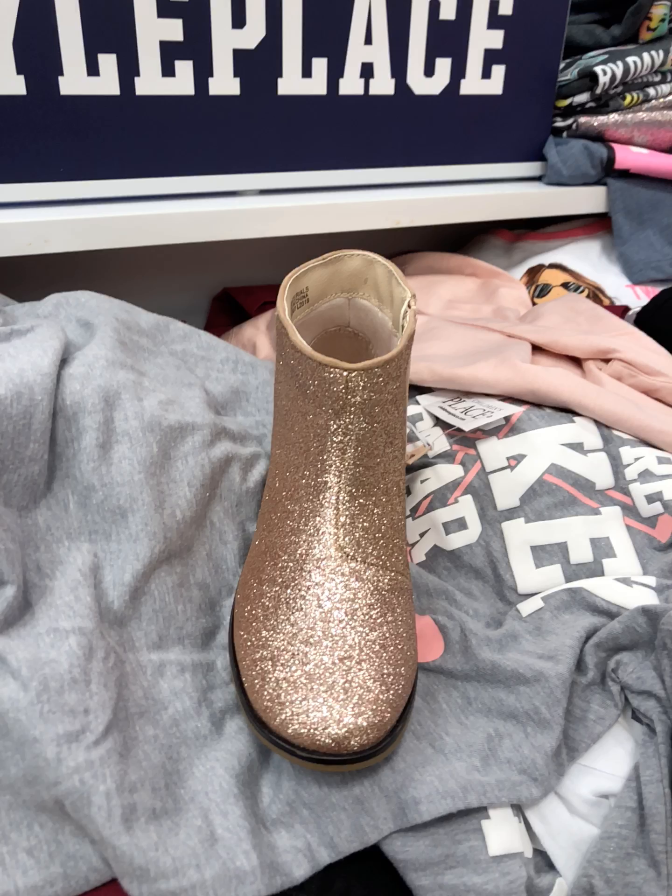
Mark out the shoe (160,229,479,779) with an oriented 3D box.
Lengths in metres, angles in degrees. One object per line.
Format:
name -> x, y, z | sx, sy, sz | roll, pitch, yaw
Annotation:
shoe -> -0.001, -0.003, 0.330 | 0.083, 0.129, 0.238 | 3, 29, 2
